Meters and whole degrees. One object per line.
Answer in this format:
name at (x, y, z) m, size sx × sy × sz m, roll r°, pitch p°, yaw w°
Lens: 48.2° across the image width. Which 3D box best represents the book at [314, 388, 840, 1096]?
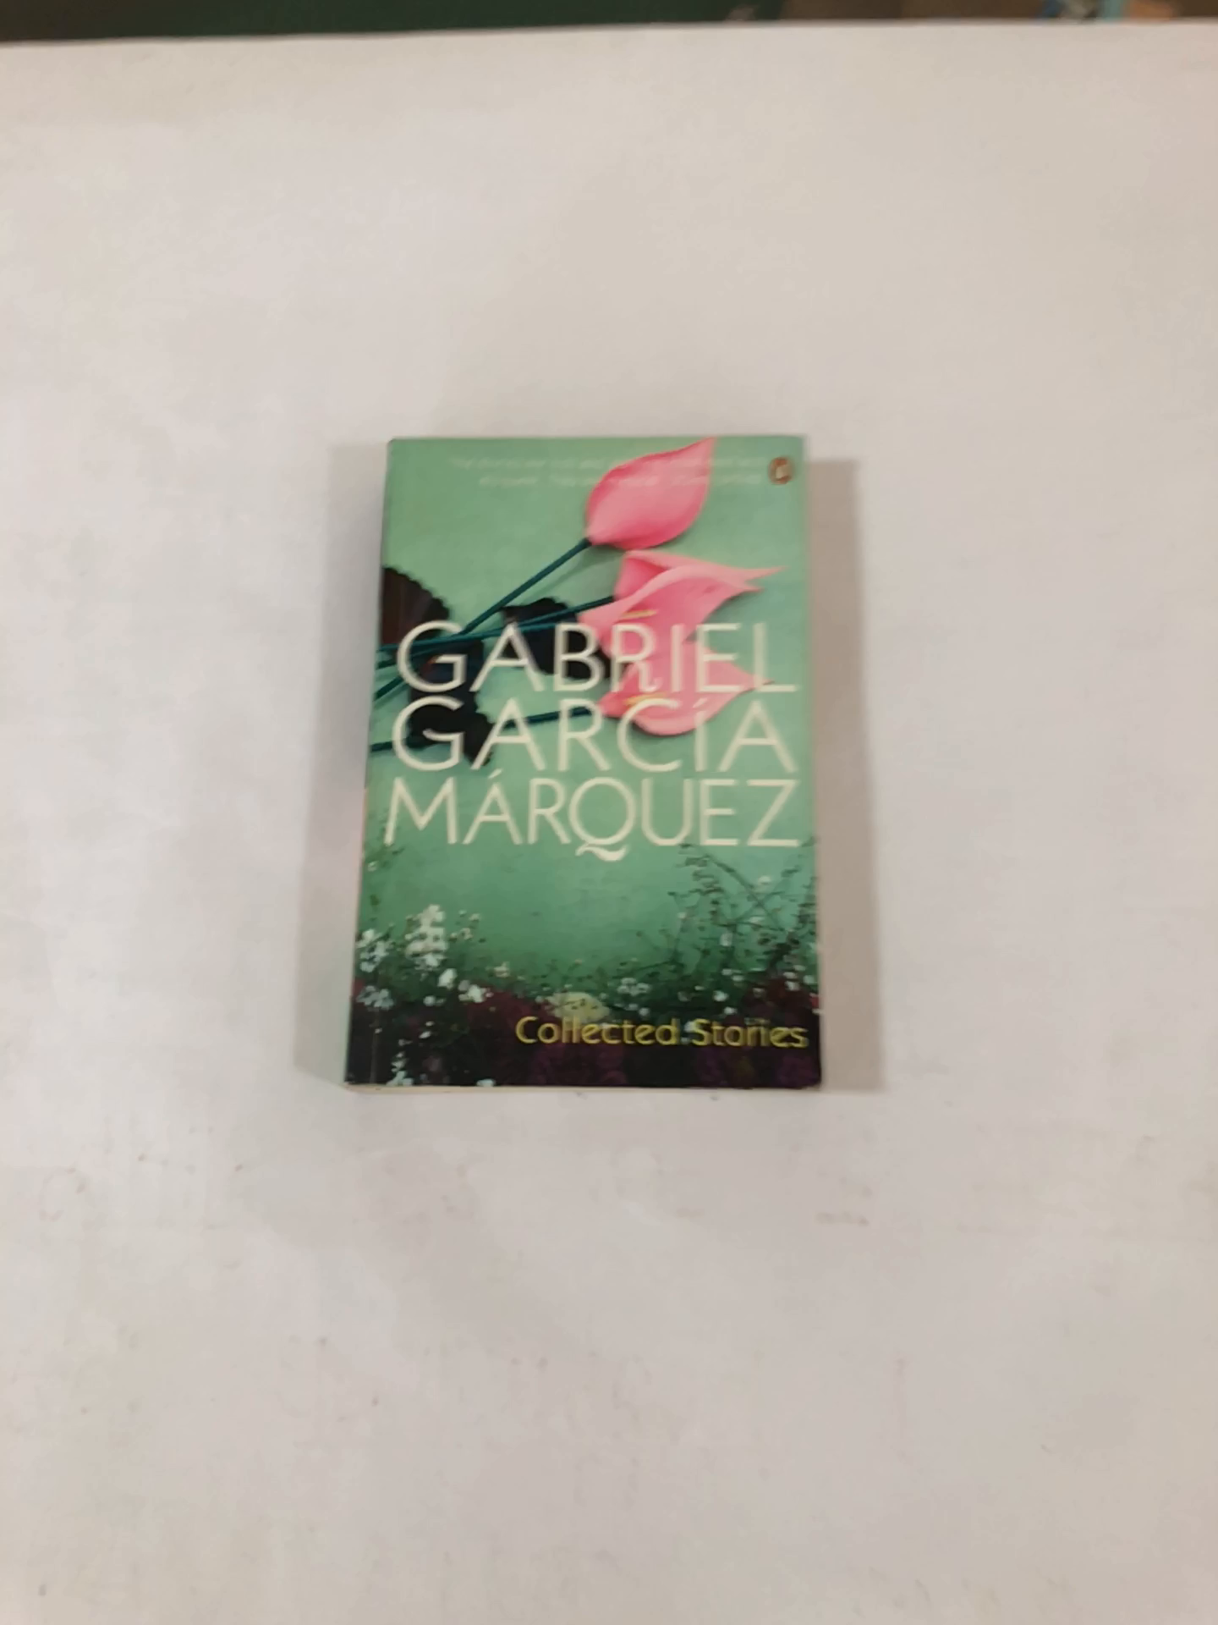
book at (-0.008, -0.024, 0.382) m, size 0.130 × 0.030 × 0.200 m, roll 0°, pitch 72°, yaw 2°
